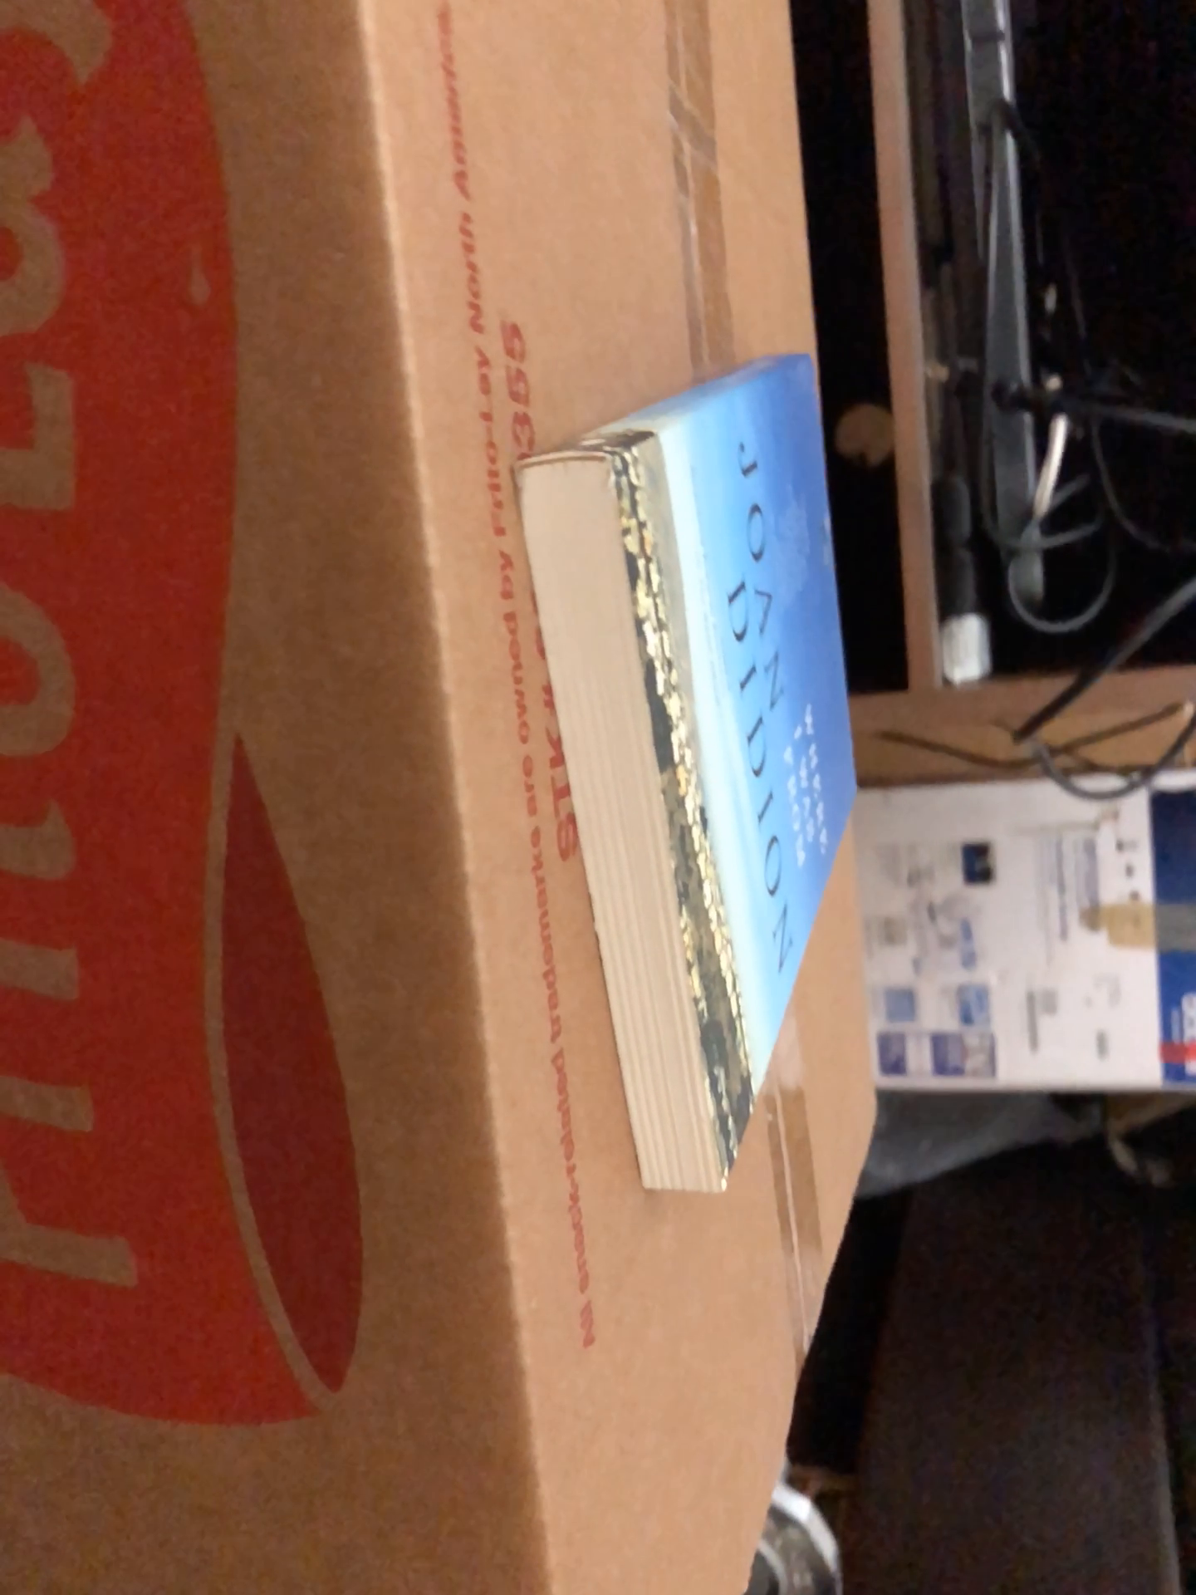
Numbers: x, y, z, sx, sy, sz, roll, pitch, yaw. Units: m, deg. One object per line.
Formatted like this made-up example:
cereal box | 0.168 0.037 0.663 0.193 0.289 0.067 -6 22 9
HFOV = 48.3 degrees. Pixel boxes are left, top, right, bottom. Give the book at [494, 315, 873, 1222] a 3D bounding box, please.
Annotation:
book | 0.036 -0.030 0.304 0.211 0.020 0.140 -53 136 -62
